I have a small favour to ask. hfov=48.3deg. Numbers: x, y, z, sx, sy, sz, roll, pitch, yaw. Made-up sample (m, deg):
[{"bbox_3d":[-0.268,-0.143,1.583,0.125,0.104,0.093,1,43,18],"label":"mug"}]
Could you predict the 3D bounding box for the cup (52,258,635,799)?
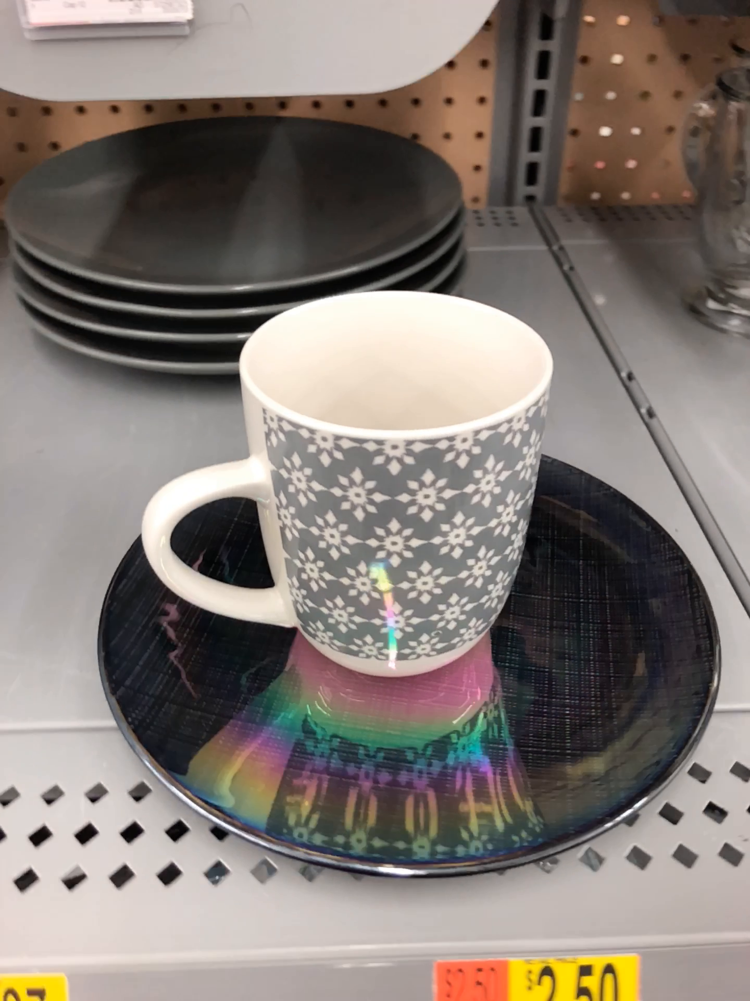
[{"bbox_3d":[-0.013,0.000,0.251,0.129,0.096,0.094,-15,40,-18],"label":"cup"}]
